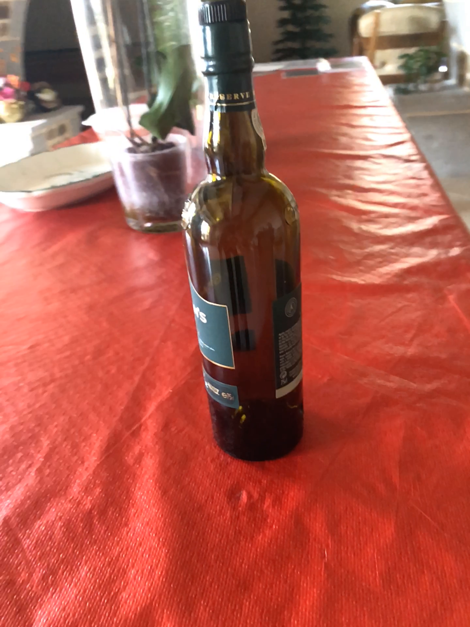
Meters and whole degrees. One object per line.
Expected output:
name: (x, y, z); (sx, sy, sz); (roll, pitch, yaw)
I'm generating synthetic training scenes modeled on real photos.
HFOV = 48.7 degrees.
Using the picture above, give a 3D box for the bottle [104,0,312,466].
bottle: (0.002, -0.042, 0.351); (0.090, 0.298, 0.091); (-4, 30, 2)
